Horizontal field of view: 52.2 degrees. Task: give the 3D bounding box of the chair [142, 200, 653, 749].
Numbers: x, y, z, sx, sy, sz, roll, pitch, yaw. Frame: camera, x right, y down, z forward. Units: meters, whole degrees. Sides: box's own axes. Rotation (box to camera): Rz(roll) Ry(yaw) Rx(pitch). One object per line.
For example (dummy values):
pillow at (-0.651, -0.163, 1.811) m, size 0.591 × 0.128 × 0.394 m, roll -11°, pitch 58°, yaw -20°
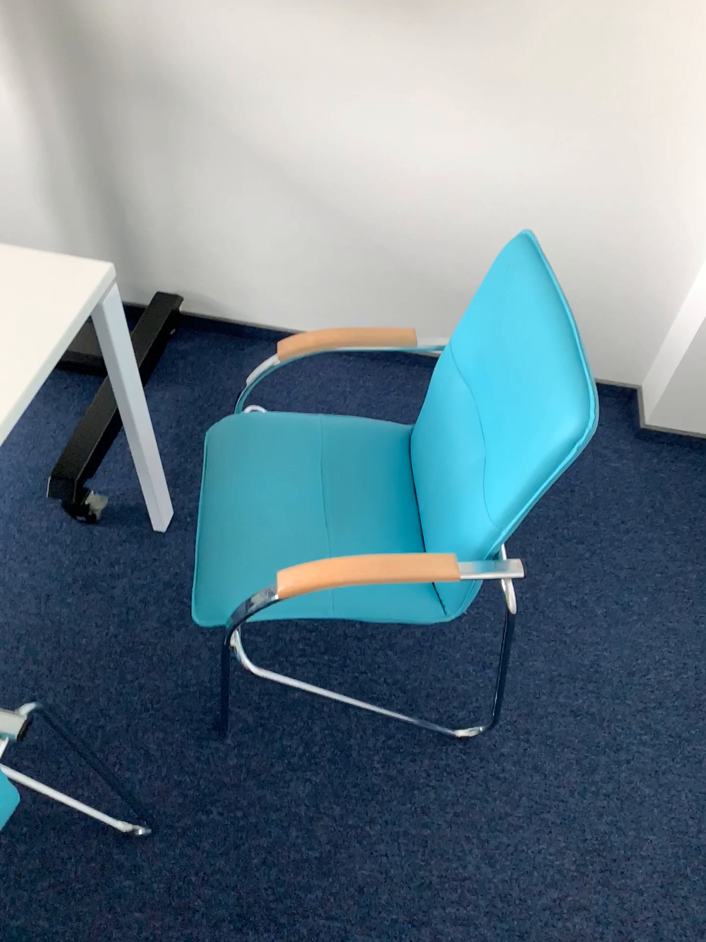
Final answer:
chair at (0.014, 0.056, 1.360) m, size 0.600 × 0.846 × 0.623 m, roll 0°, pitch 51°, yaw -5°
